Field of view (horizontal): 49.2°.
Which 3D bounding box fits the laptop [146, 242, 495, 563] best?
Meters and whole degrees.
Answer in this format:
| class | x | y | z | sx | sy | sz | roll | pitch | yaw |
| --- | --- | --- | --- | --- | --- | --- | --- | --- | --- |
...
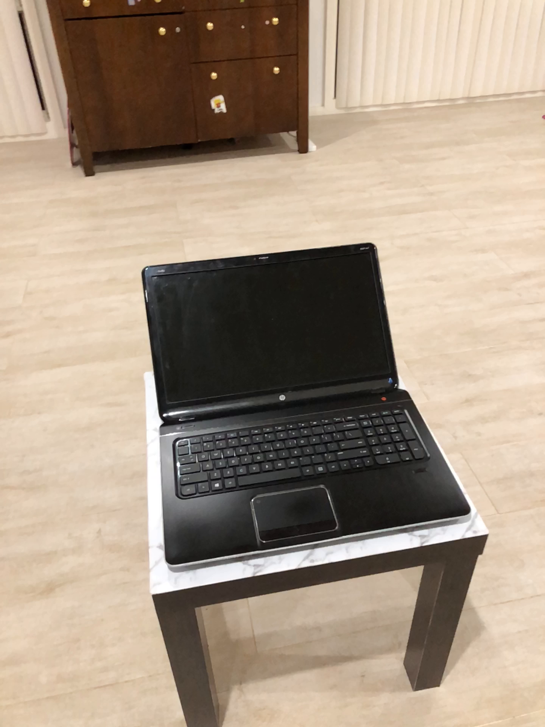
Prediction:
| class | x | y | z | sx | sy | sz | roll | pitch | yaw |
| --- | --- | --- | --- | --- | --- | --- | --- | --- | --- |
| laptop | 0.025 | 0.018 | 0.868 | 0.386 | 0.169 | 0.440 | -7 | 38 | -7 |
